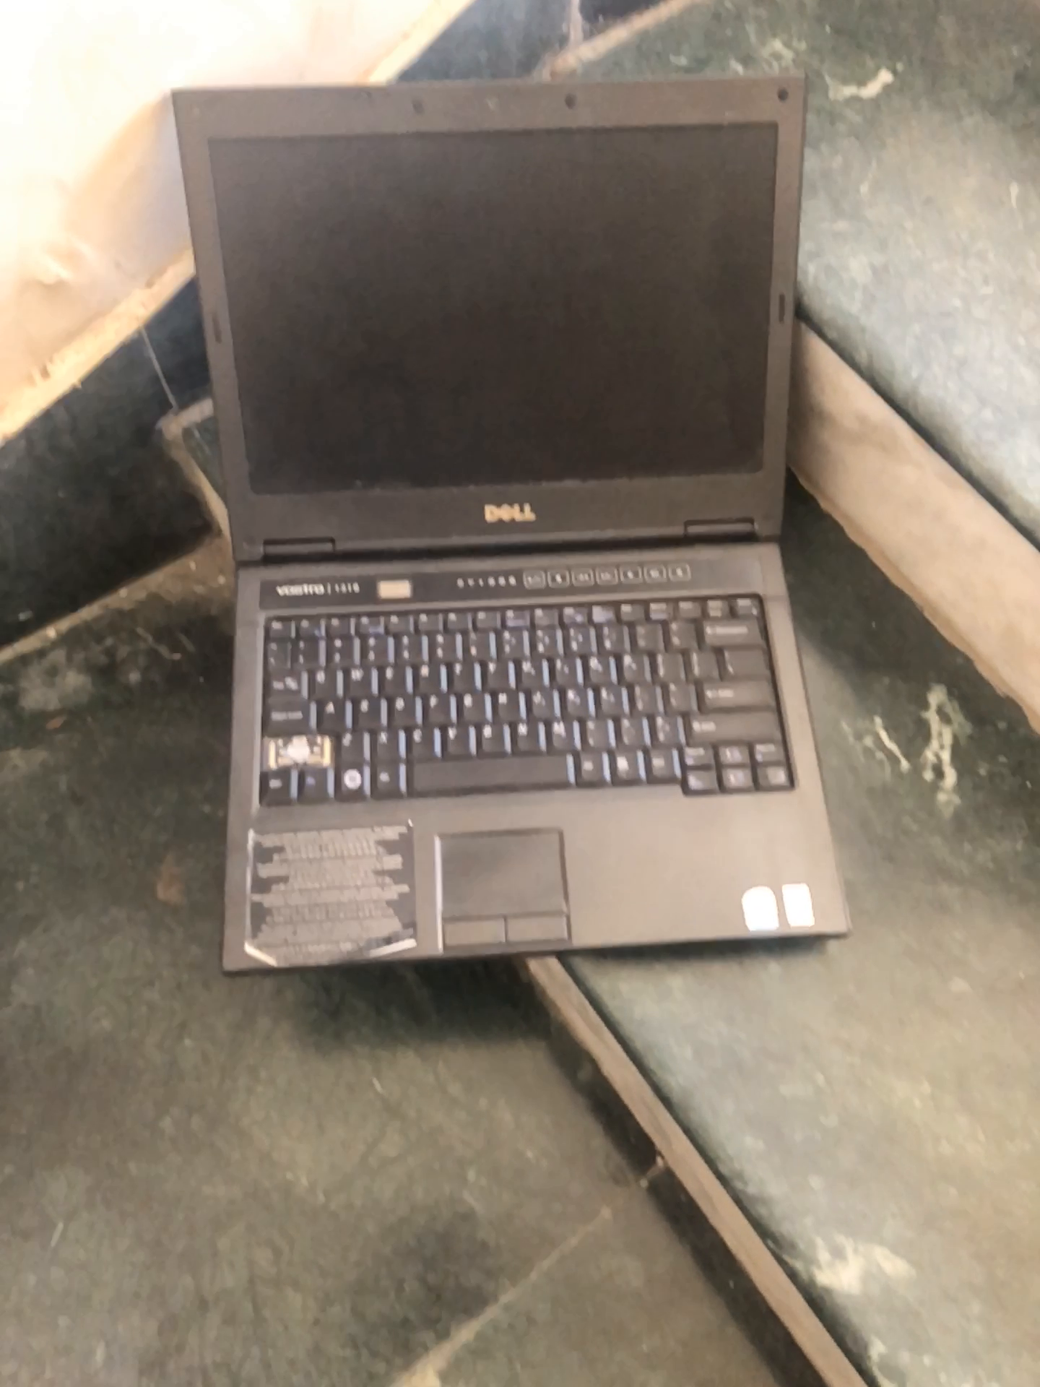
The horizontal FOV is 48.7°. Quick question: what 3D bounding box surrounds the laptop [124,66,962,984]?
[{"bbox_3d":[-0.003,-0.083,0.560,0.301,0.169,0.387,-2,68,-3],"label":"laptop"}]
